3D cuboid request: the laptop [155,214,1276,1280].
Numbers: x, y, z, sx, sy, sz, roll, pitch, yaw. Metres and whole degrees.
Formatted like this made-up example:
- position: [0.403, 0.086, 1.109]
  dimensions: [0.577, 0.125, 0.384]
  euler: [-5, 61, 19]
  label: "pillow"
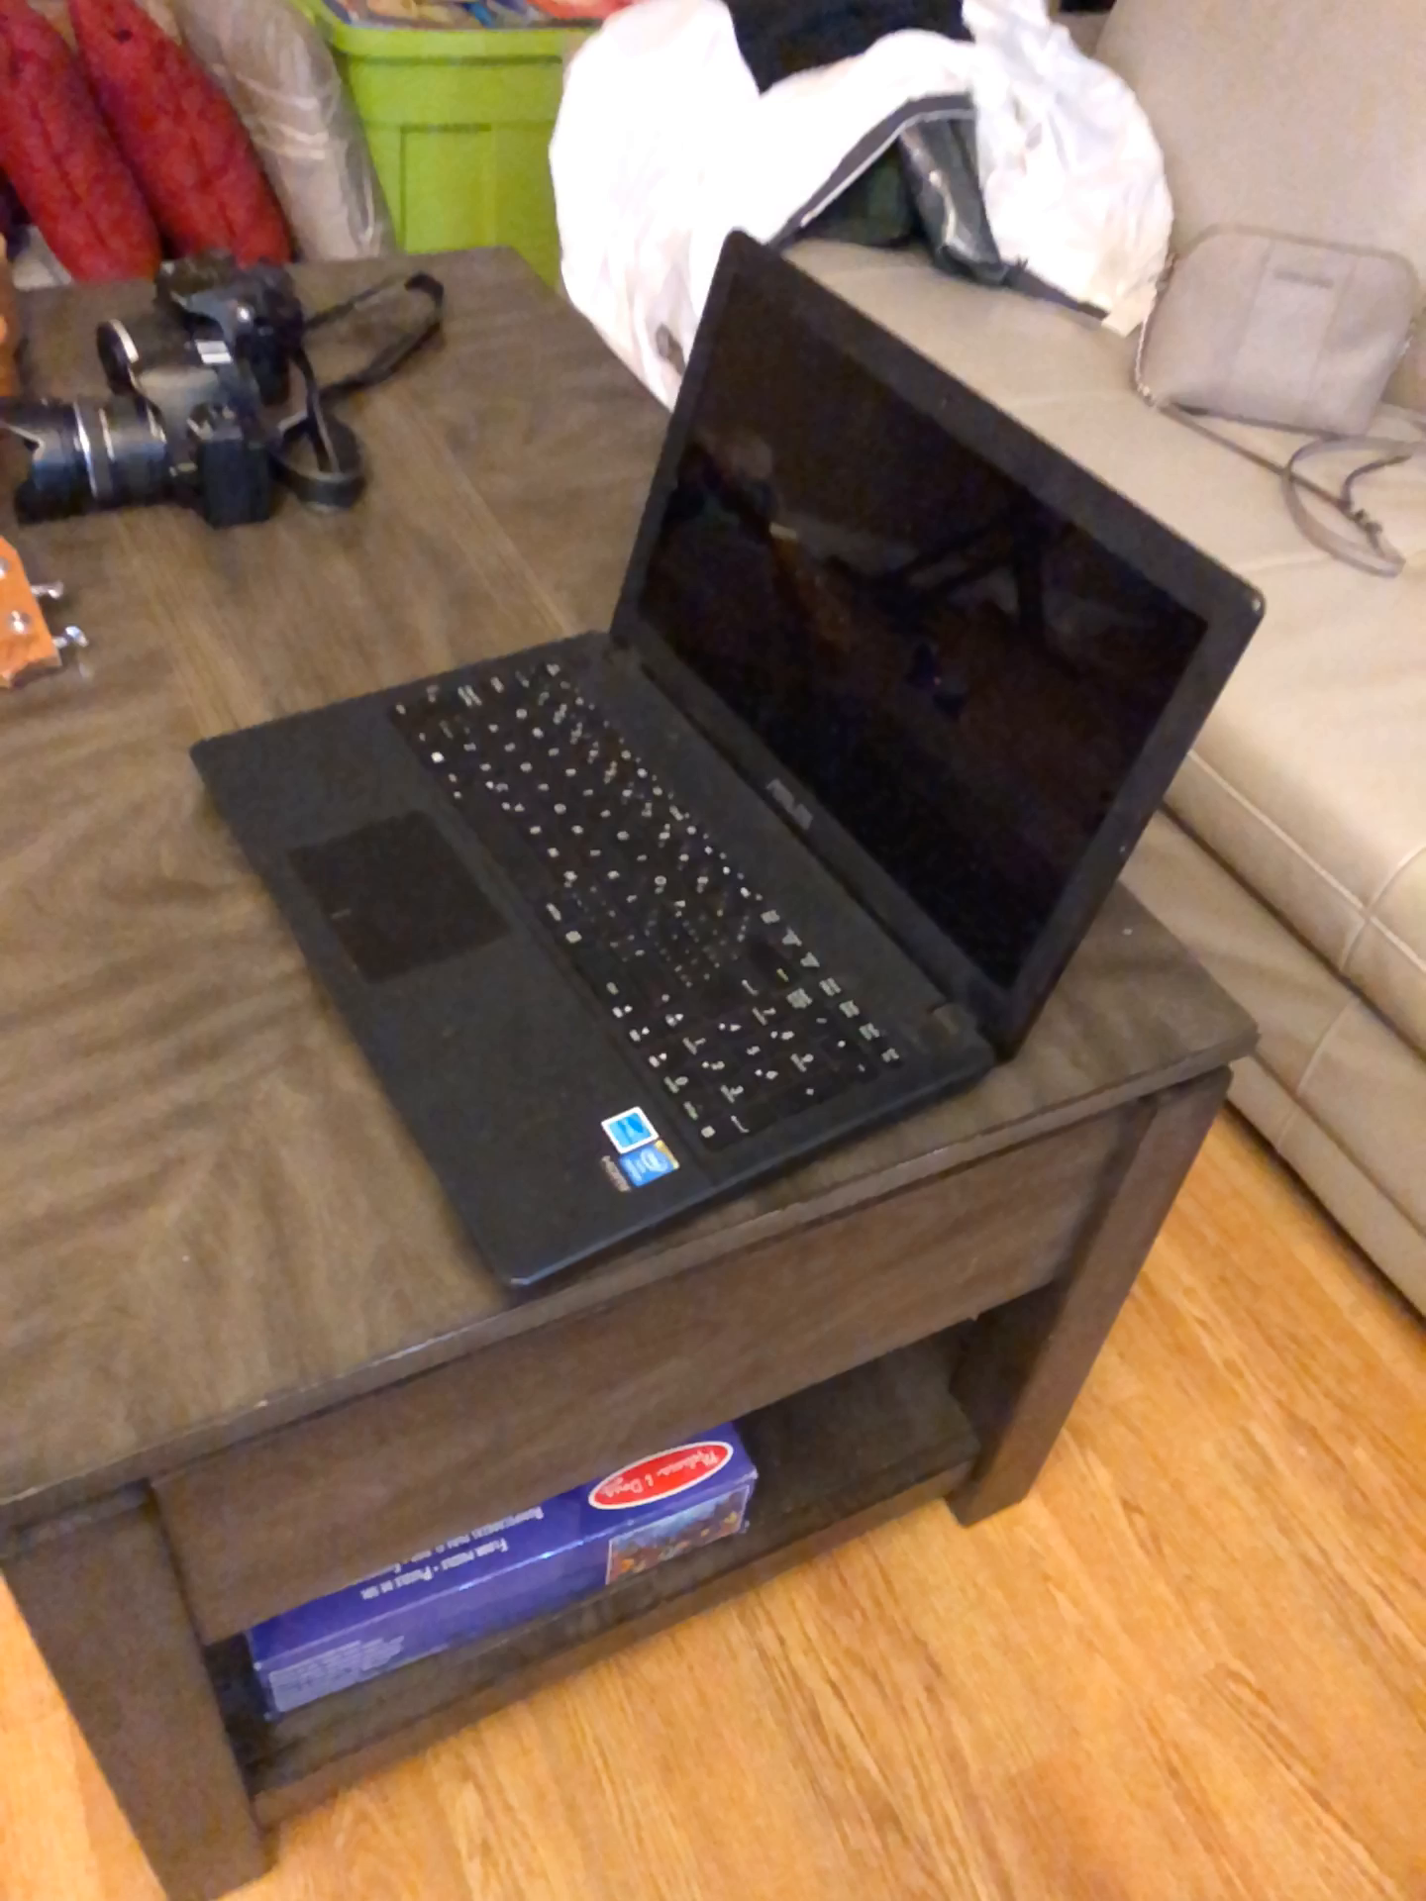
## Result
- position: [-0.023, -0.122, 0.694]
  dimensions: [0.316, 0.216, 0.357]
  euler: [-22, 52, -24]
  label: "laptop"
